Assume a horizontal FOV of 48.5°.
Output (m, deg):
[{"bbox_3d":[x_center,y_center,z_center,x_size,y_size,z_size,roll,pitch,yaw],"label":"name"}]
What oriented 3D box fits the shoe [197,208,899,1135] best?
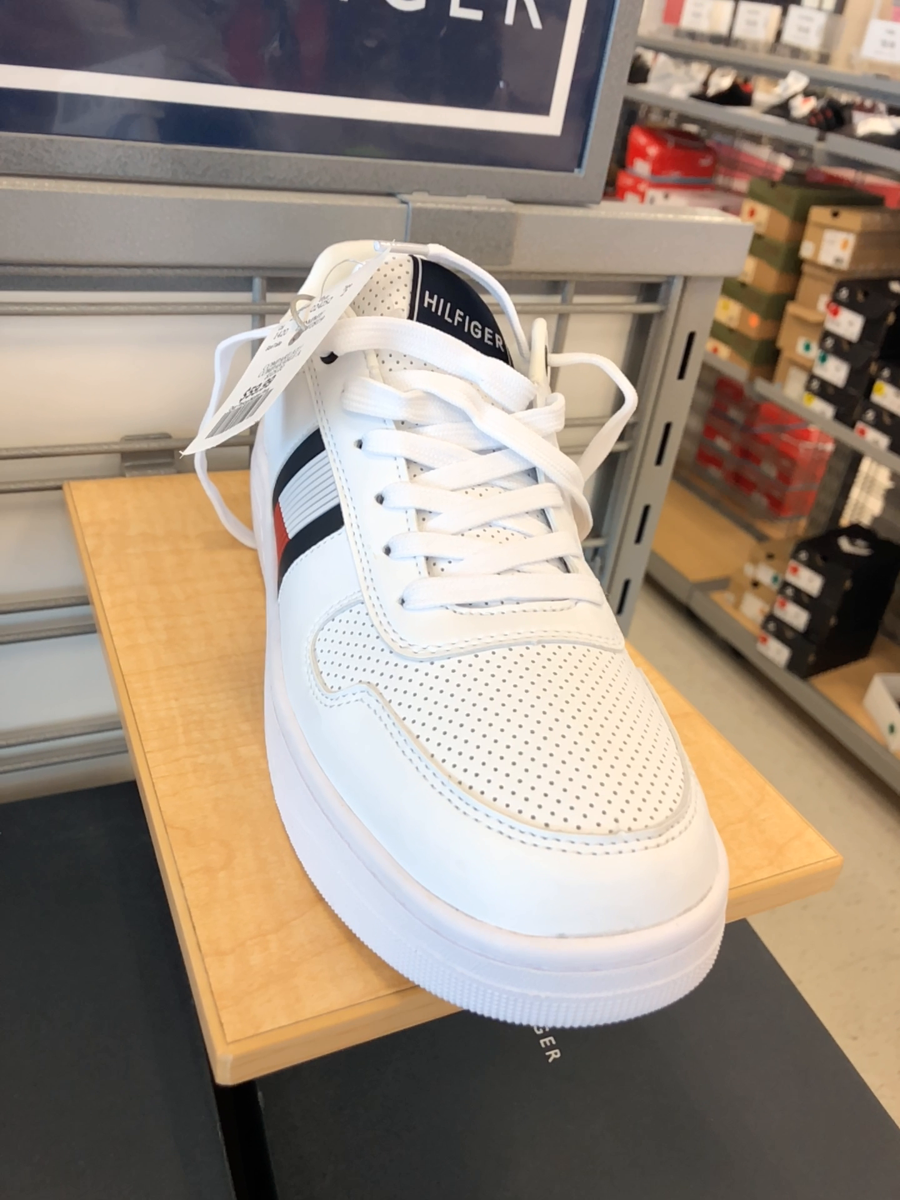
[{"bbox_3d":[-0.004,-0.022,0.294,0.107,0.113,0.282,-3,33,-19],"label":"shoe"}]
